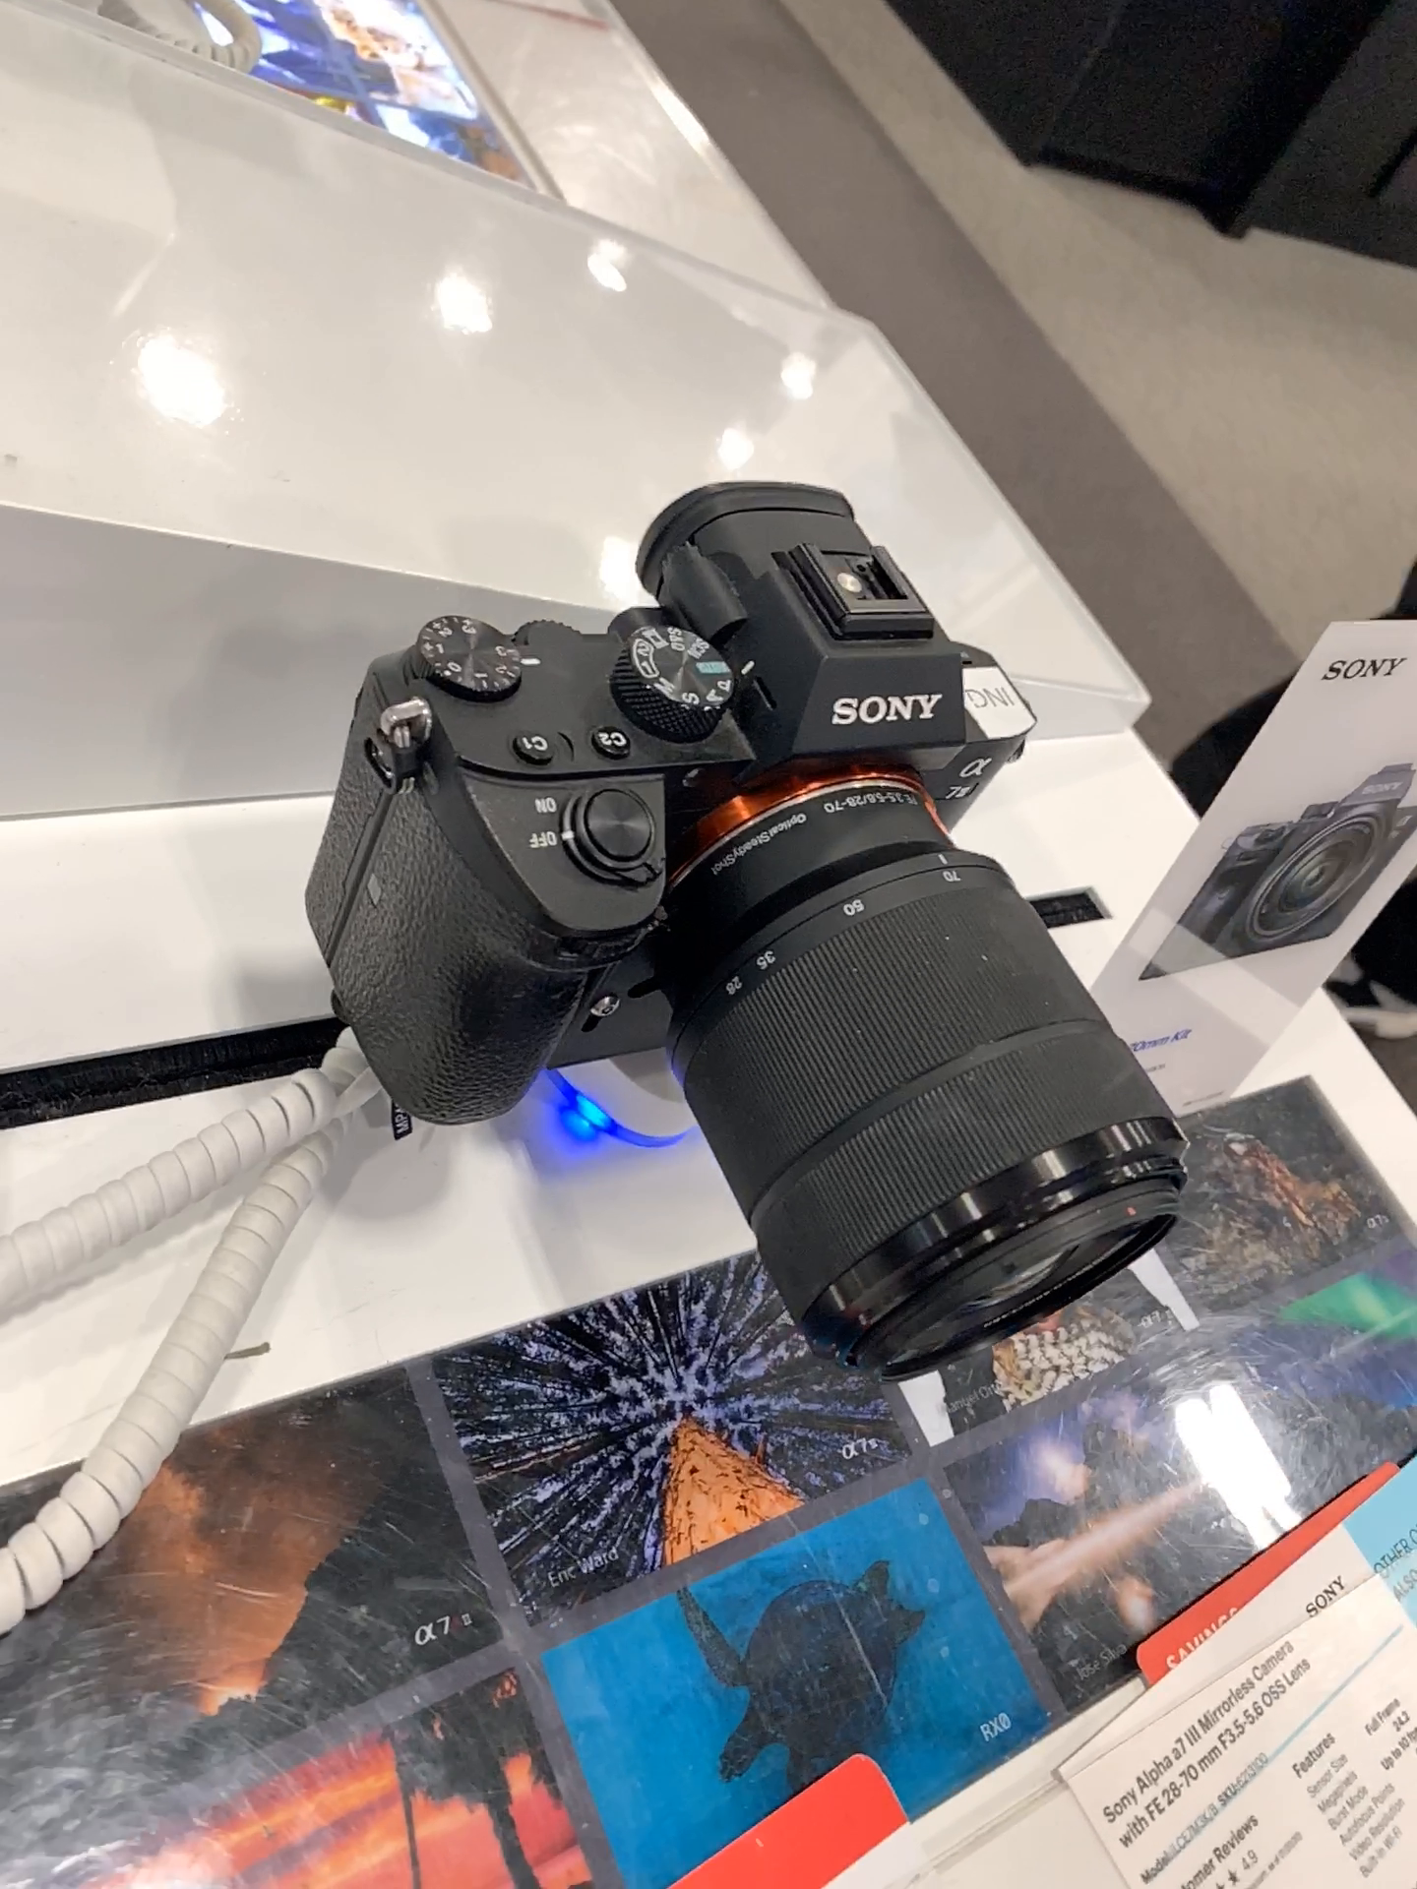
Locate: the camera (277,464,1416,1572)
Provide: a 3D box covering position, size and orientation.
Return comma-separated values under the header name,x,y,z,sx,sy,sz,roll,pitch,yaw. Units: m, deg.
name,x,y,z,sx,sy,sz,roll,pitch,yaw
camera,0.016,0.004,0.258,0.119,0.100,0.140,-13,62,-36
